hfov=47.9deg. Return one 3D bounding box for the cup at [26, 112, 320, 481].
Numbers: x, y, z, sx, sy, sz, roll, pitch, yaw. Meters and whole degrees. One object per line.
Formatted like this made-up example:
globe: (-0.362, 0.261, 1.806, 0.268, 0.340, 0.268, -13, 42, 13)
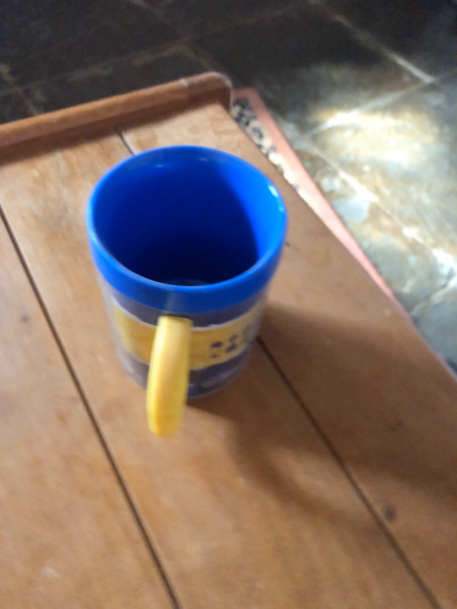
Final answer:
cup: (-0.017, 0.001, 0.237, 0.090, 0.109, 0.121, 6, 55, -2)
